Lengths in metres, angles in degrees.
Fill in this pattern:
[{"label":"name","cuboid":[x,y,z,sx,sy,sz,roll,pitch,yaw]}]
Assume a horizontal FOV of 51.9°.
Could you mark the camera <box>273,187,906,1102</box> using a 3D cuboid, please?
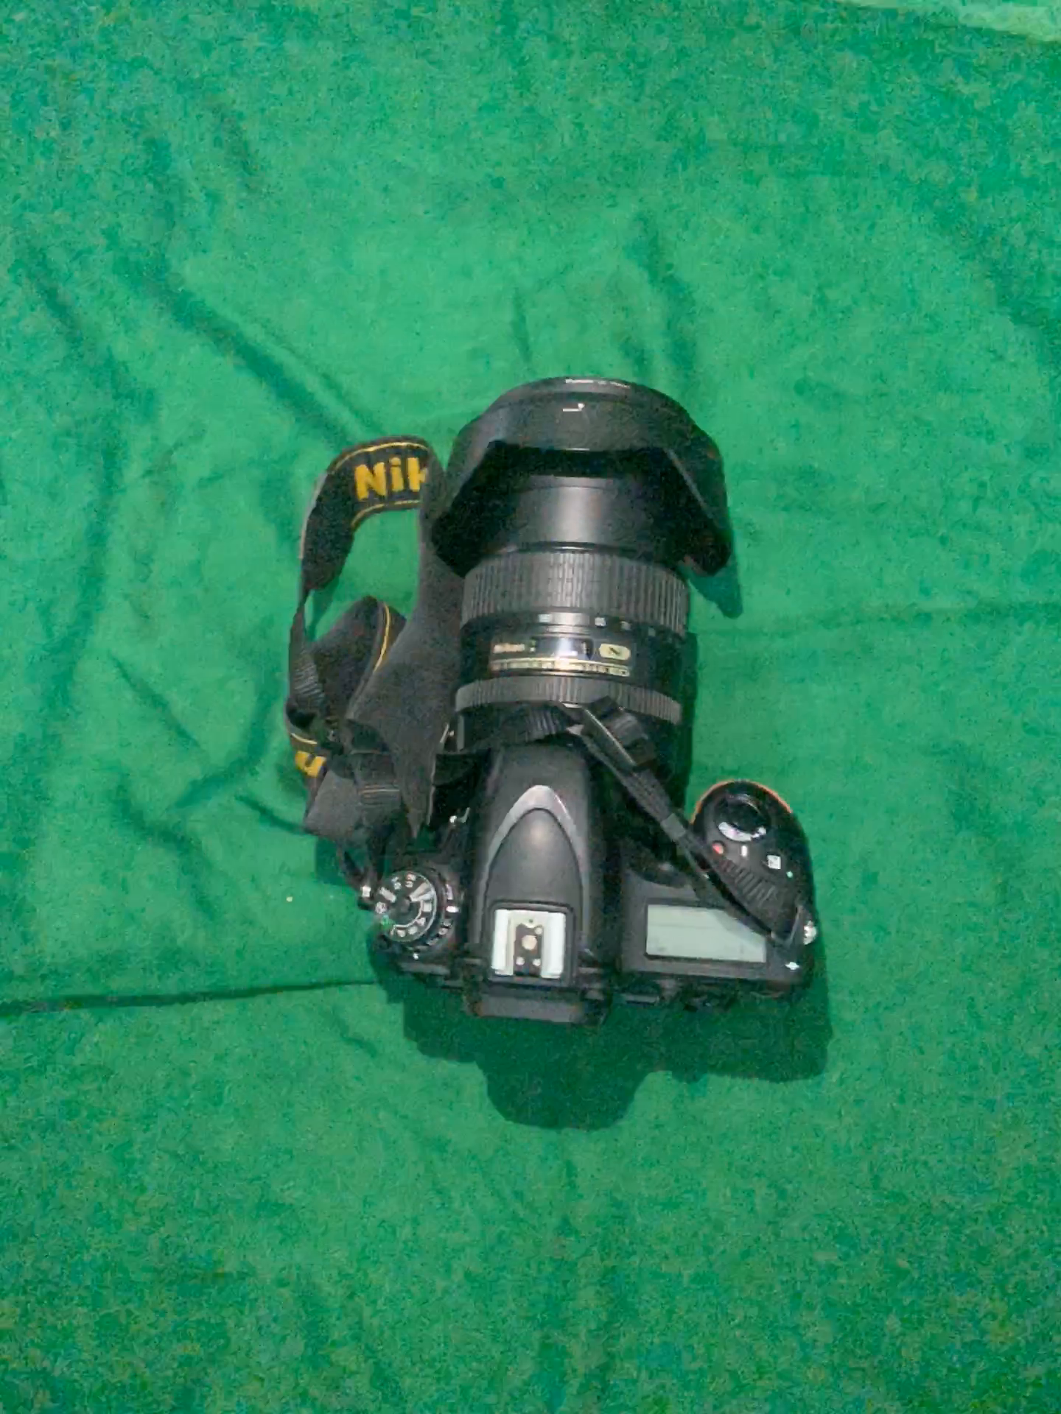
[{"label":"camera","cuboid":[0.032,-0.027,0.384,0.170,0.100,0.290,4,74,8]}]
